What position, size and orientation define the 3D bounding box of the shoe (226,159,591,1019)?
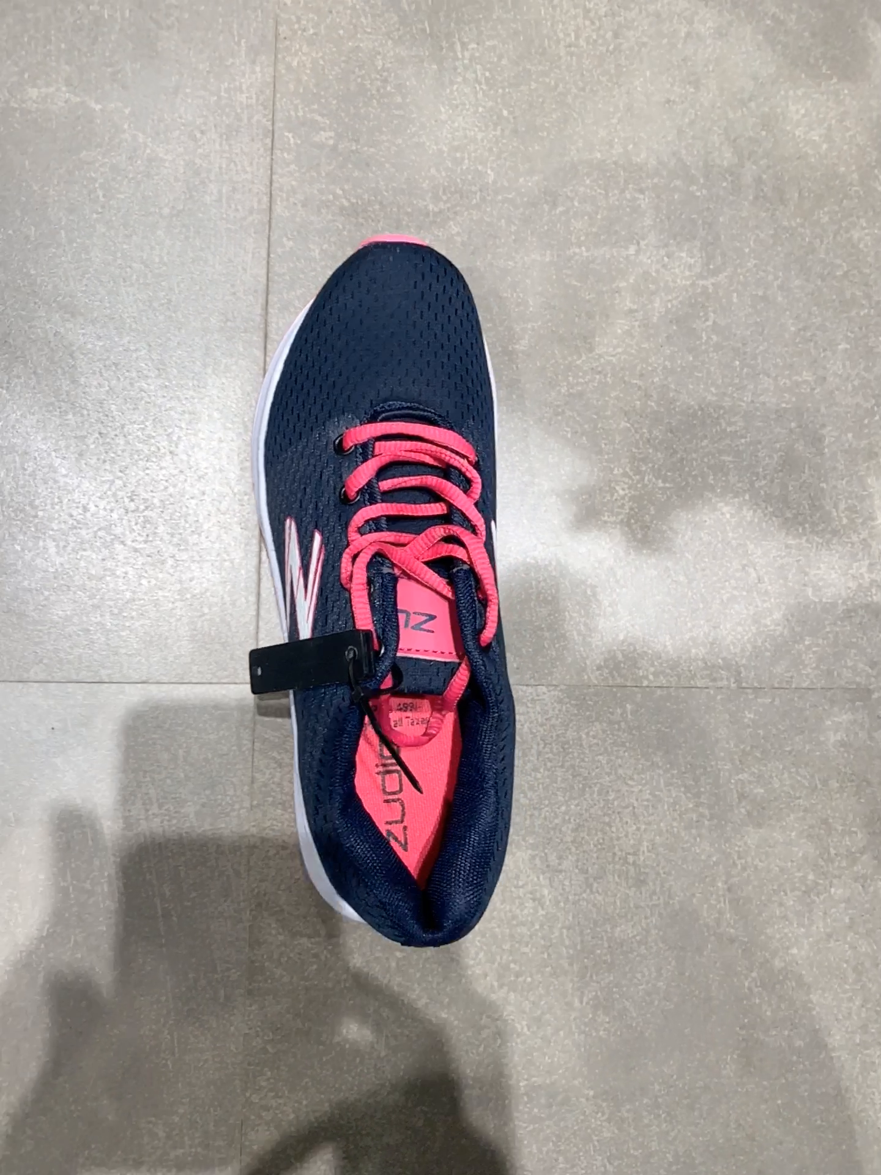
[{"bbox_3d":[-0.019,-0.002,0.315,0.094,0.090,0.248,-3,87,-13],"label":"shoe"}]
